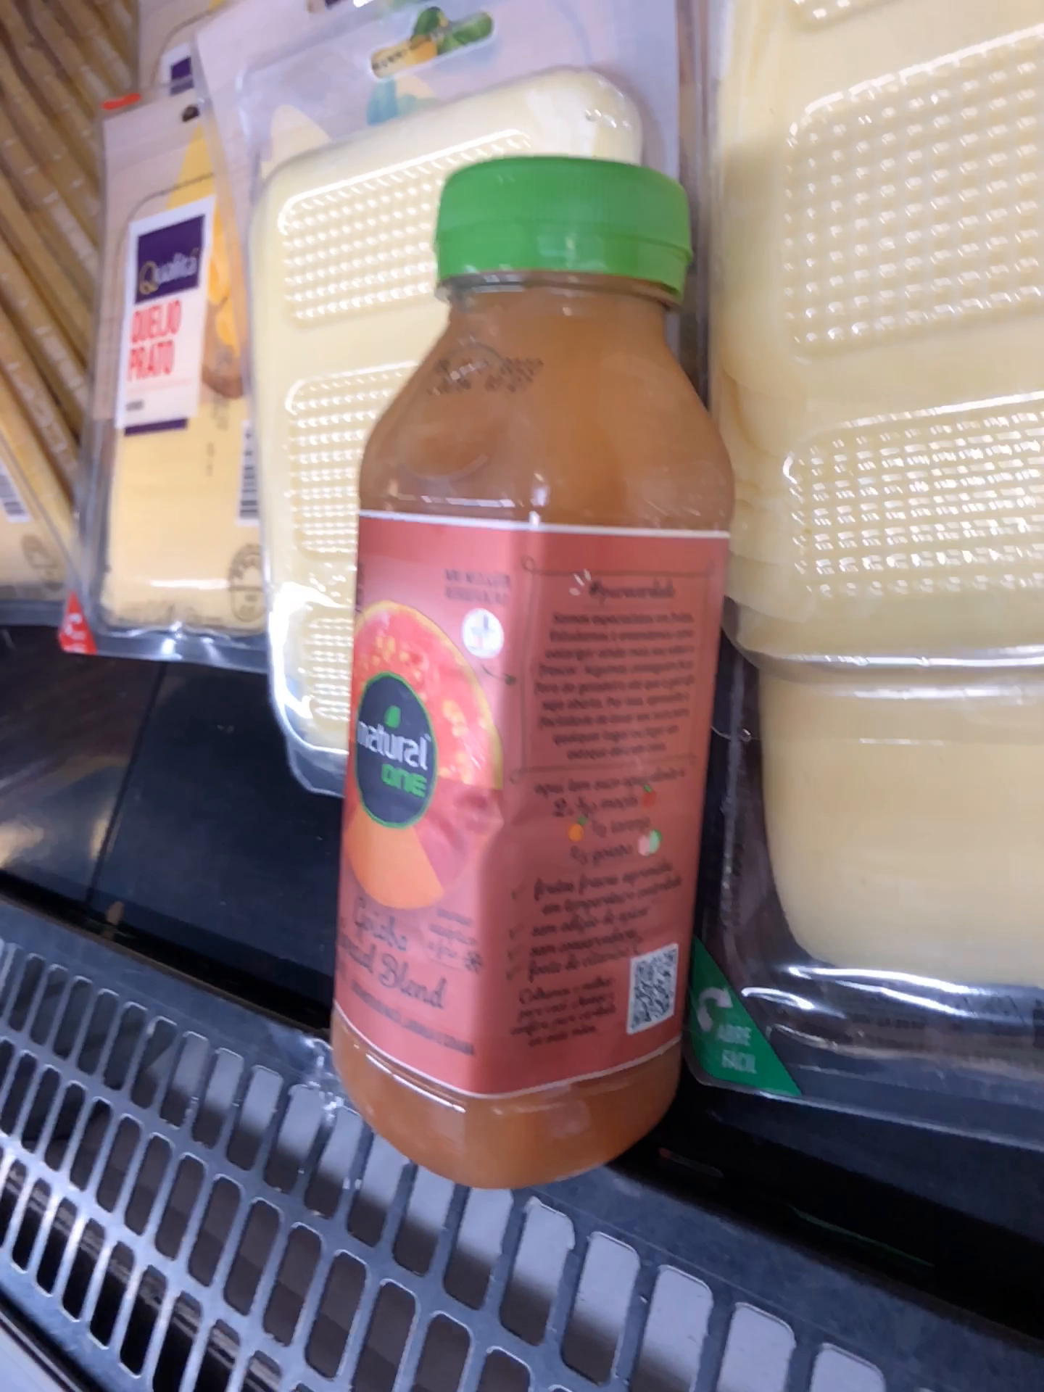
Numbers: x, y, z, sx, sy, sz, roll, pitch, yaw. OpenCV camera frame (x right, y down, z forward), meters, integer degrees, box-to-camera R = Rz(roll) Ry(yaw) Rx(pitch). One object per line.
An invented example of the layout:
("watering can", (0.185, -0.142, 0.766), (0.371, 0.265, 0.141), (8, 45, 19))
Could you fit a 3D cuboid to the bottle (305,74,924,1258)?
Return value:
("bottle", (0.017, -0.004, 0.221), (0.060, 0.070, 0.180), (13, 96, 44))
